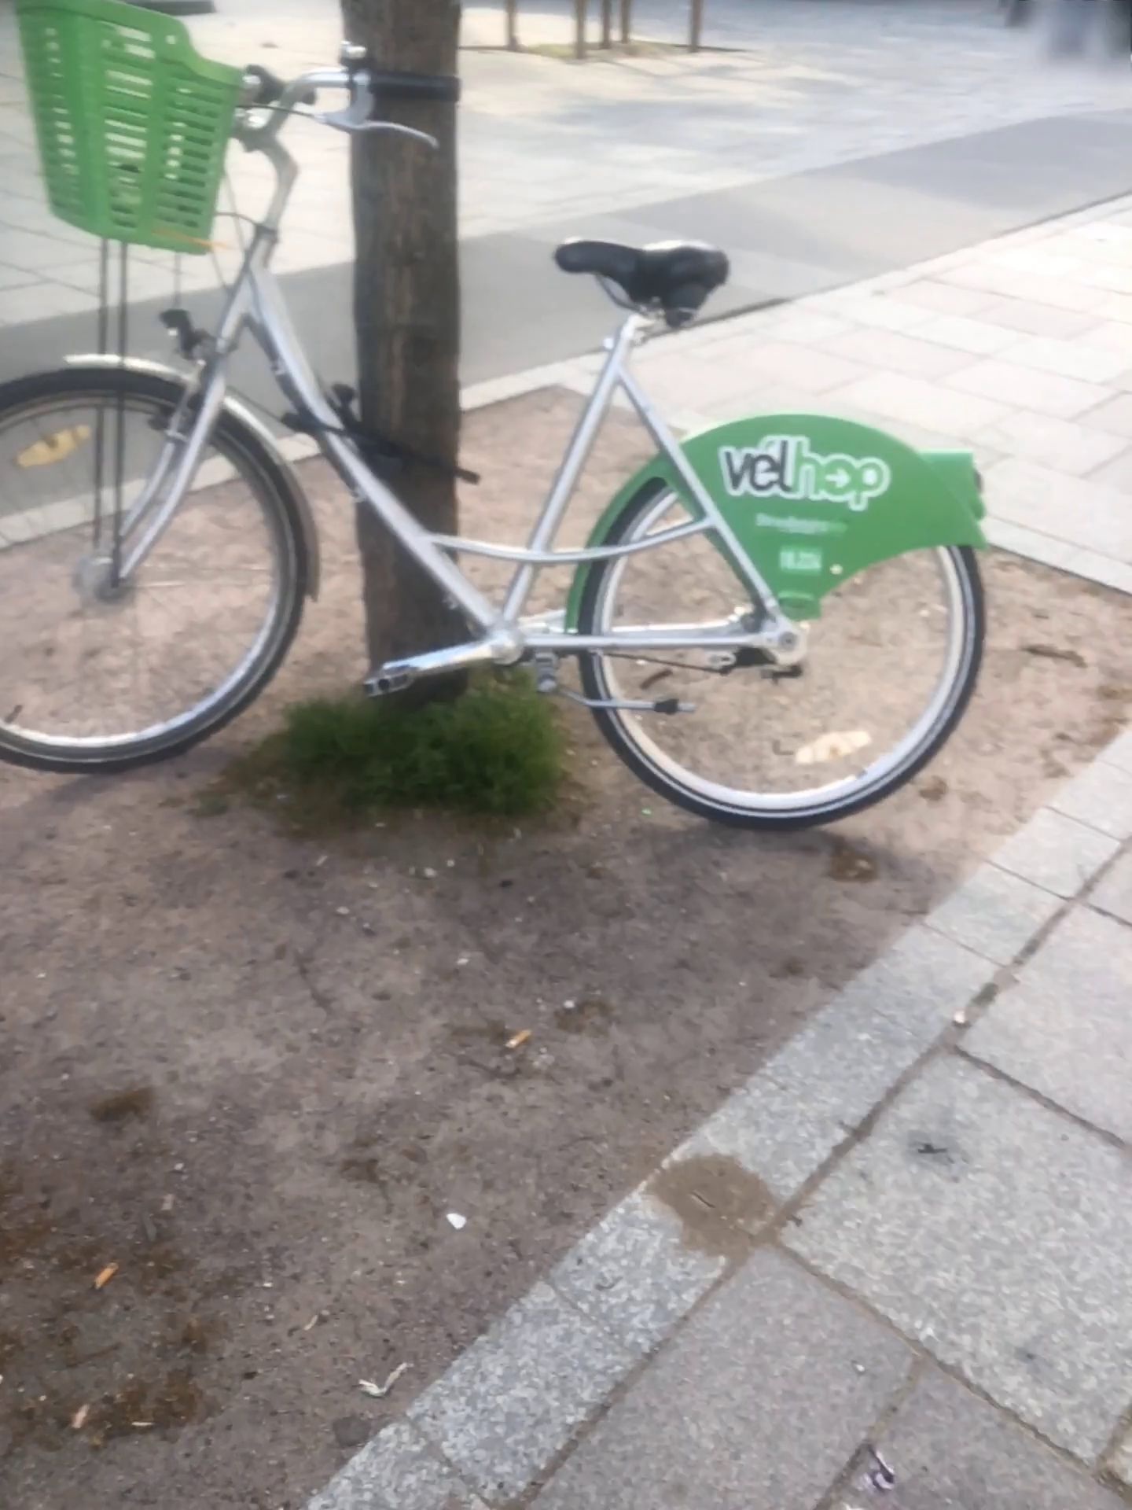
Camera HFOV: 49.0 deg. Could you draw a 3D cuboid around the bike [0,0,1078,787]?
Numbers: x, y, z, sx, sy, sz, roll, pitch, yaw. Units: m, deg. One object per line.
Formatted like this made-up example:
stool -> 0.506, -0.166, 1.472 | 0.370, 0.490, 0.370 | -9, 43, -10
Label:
bike -> -0.158, -0.505, 1.956 | 1.719, 1.114, 0.313 | -1, 34, -10
